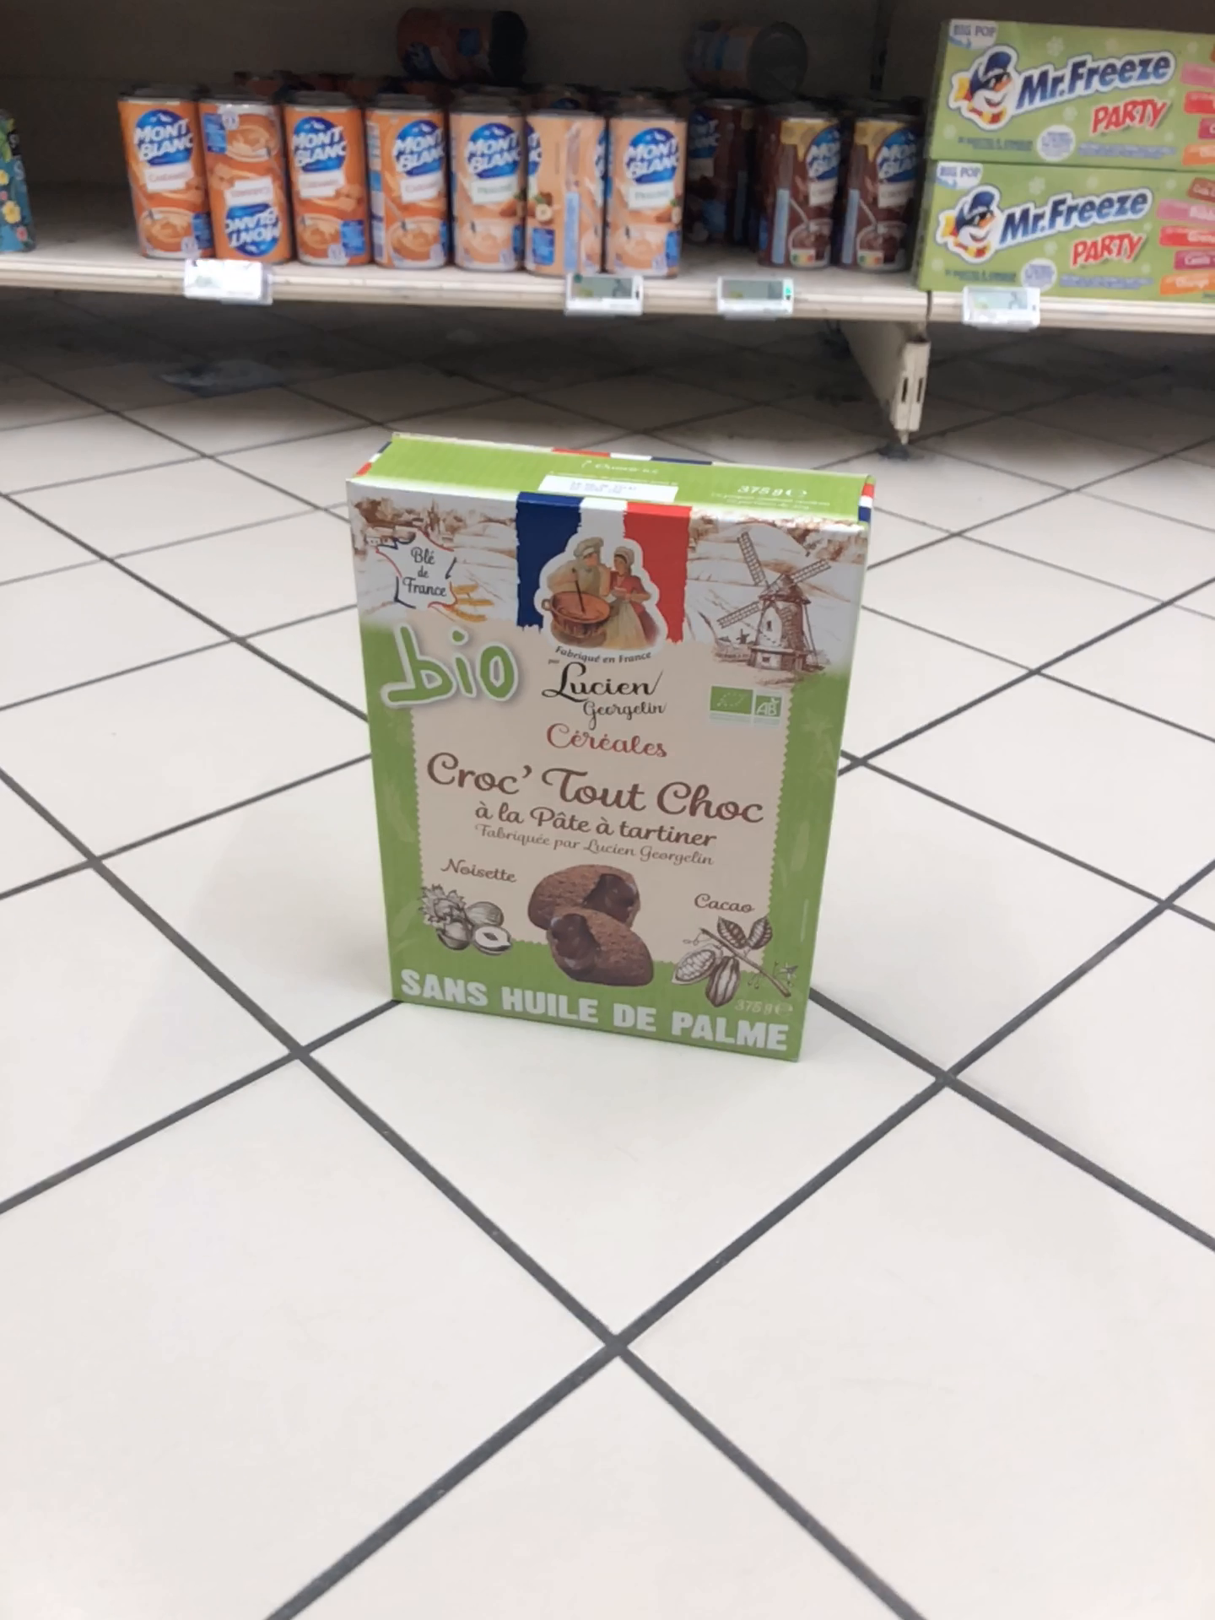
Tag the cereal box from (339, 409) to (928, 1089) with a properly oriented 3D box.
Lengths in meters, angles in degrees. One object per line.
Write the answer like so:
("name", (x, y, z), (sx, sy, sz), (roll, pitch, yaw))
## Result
("cereal box", (0.009, -0.022, 0.541), (0.200, 0.239, 0.081), (8, 31, 10))
